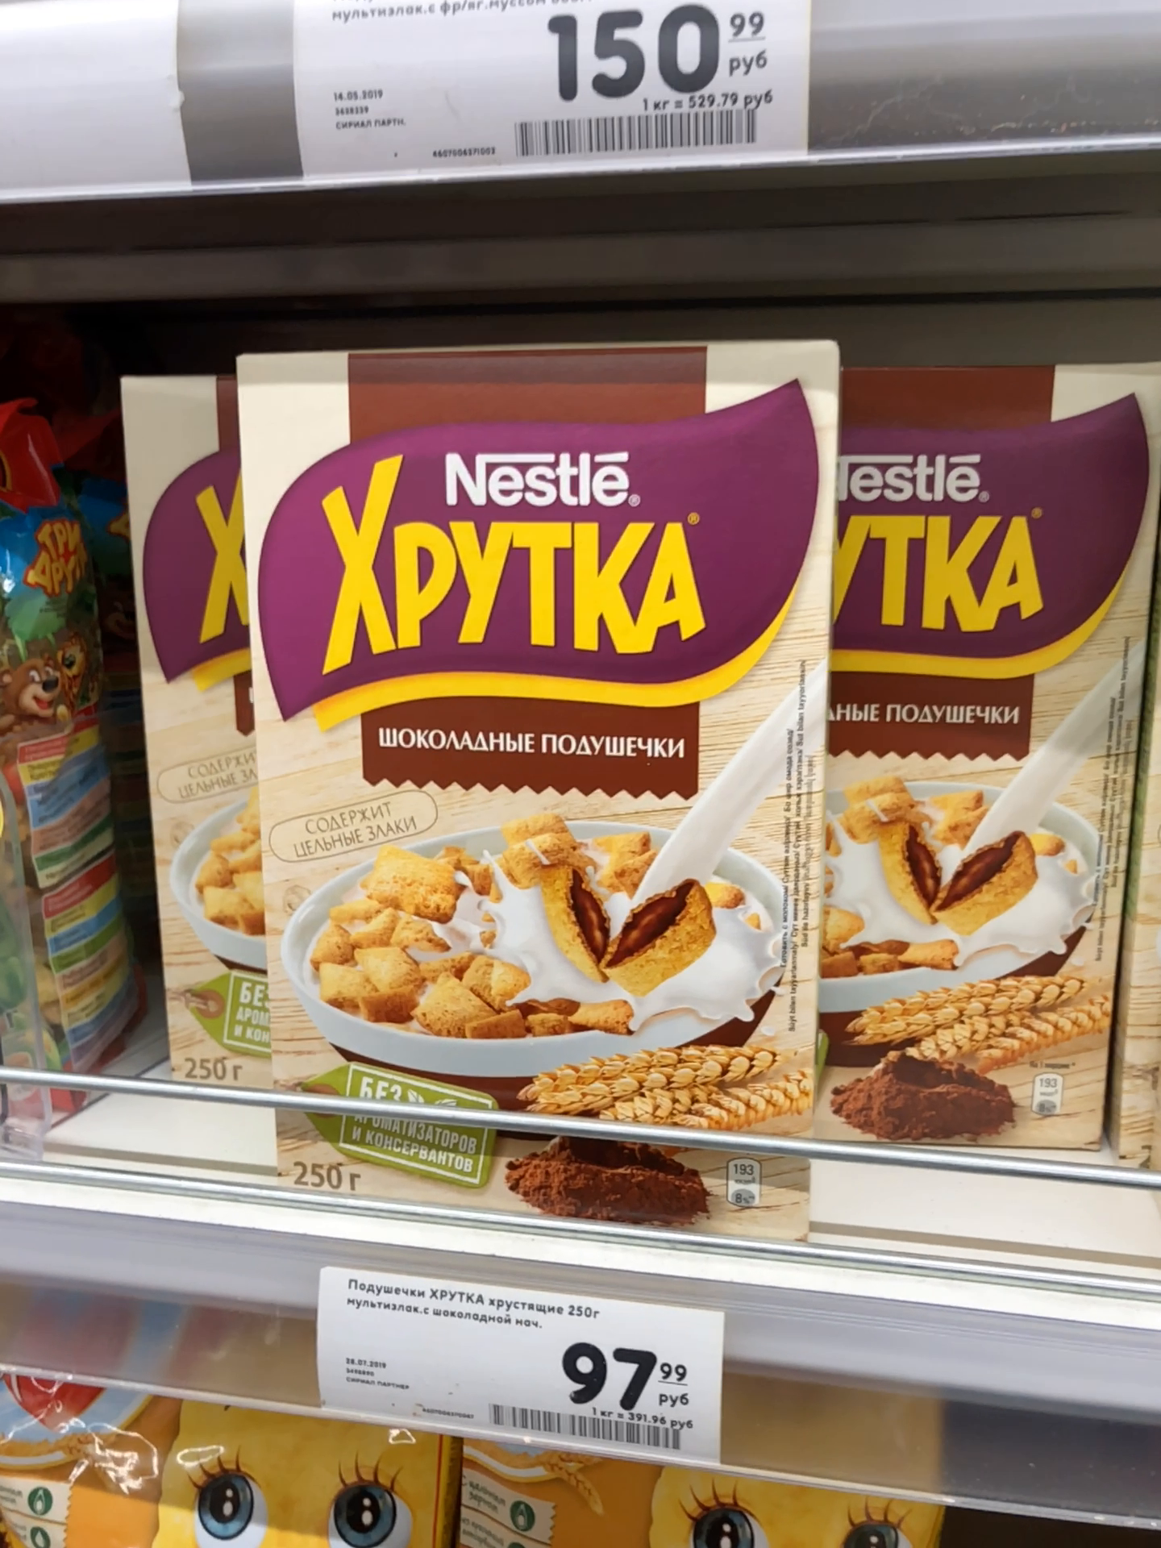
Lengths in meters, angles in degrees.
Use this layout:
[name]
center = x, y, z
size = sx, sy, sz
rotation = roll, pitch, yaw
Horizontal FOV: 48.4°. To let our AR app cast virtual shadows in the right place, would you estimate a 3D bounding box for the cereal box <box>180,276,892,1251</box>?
[cereal box]
center = -0.011, -0.002, 0.321
size = 0.160, 0.219, 0.040
rotation = 3, 11, 11
